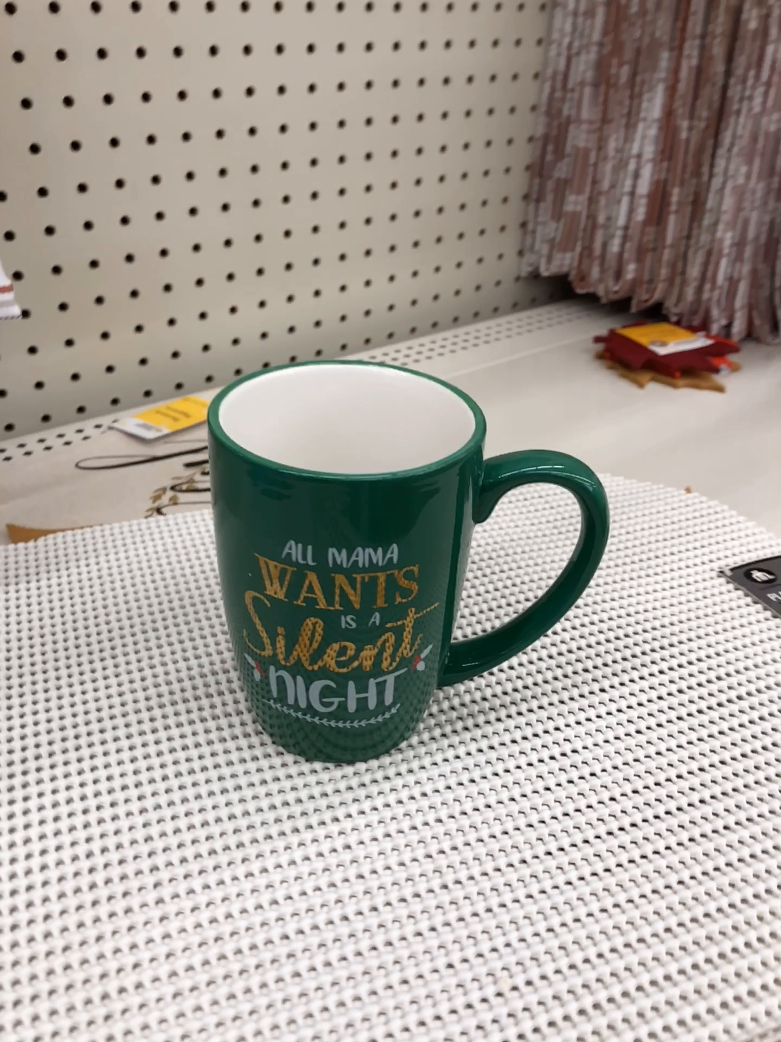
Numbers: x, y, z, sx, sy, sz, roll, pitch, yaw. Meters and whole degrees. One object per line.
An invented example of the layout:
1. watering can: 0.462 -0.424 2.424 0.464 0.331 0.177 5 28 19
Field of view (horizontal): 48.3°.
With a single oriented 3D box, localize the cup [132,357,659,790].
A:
1. cup: 0.001 0.014 0.302 0.140 0.110 0.100 1 31 0
